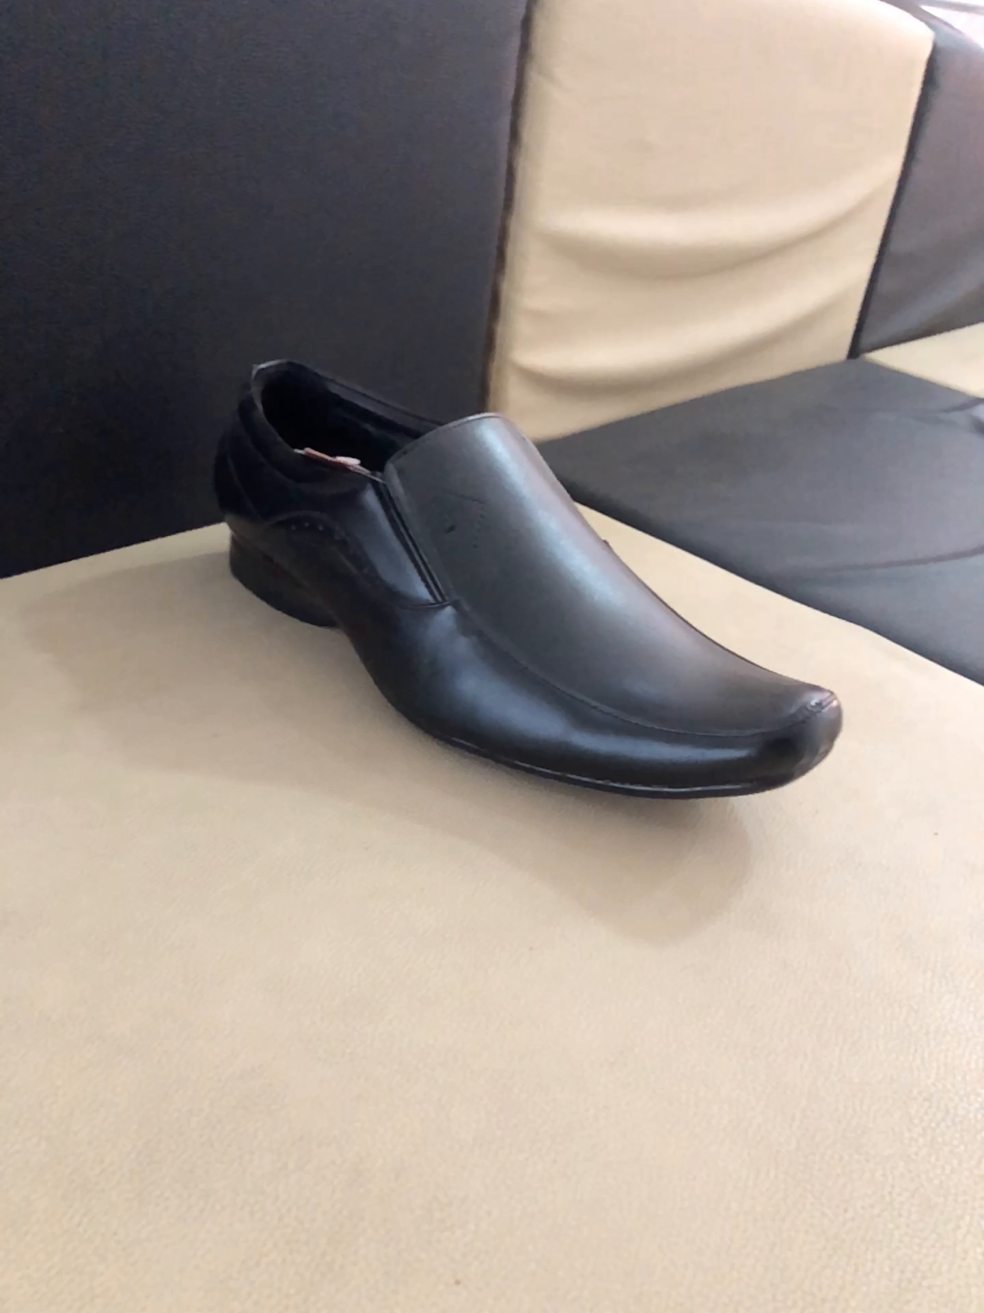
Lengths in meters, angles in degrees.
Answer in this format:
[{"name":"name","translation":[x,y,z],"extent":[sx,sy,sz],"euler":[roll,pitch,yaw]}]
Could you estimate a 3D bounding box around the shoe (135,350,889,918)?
[{"name":"shoe","translation":[-0.011,-0.029,0.416],"extent":[0.280,0.090,0.090],"euler":[28,36,31]}]
